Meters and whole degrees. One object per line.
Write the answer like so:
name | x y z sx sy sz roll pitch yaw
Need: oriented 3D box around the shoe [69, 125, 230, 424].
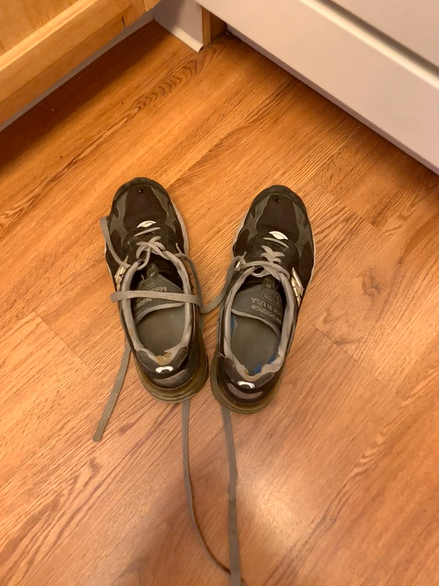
shoe | -0.079 -0.023 0.500 0.120 0.100 0.300 -11 70 -3

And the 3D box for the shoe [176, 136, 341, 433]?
shoe | 0.049 -0.013 0.502 0.120 0.100 0.300 10 70 5
